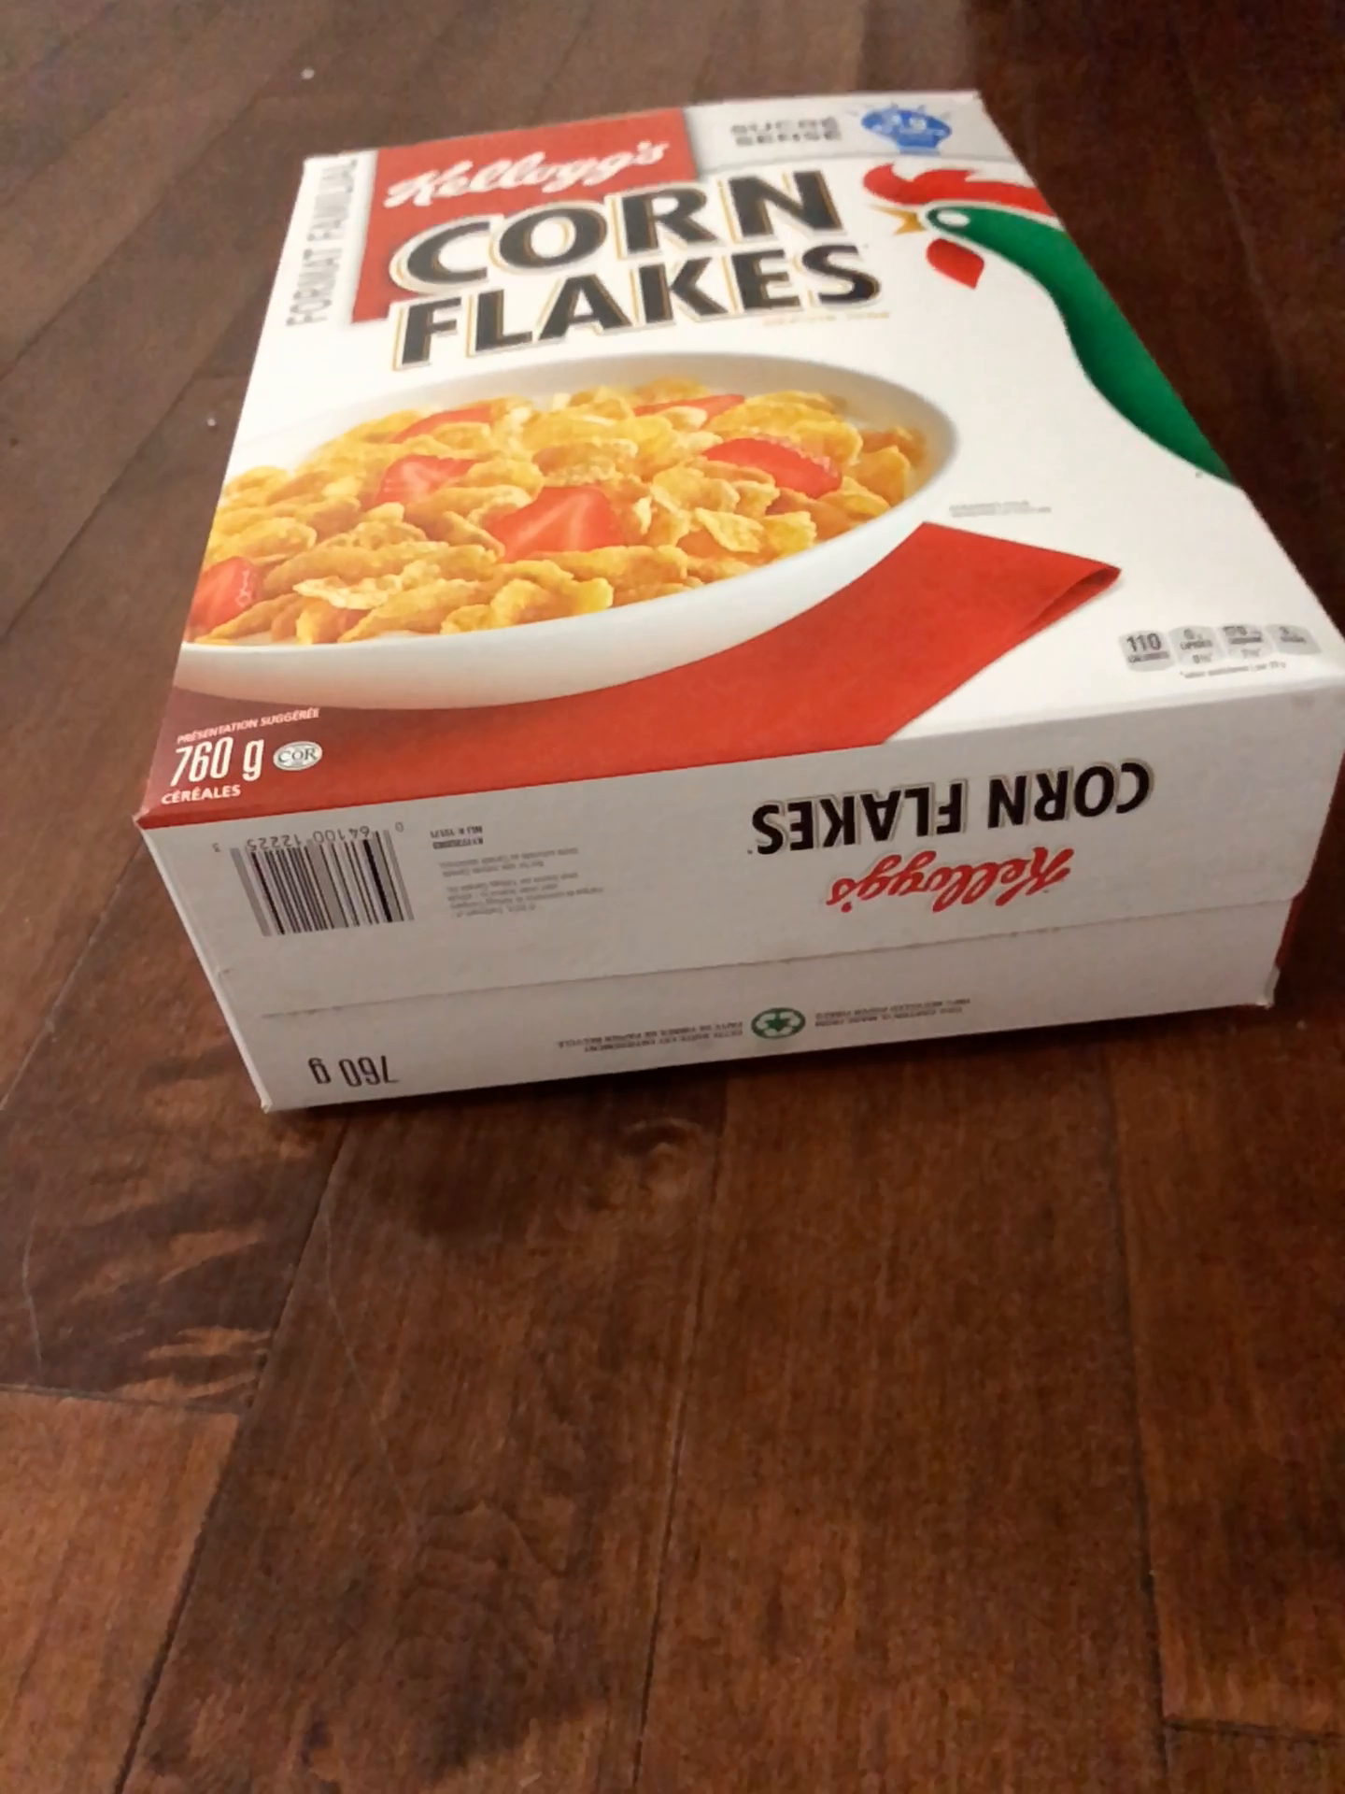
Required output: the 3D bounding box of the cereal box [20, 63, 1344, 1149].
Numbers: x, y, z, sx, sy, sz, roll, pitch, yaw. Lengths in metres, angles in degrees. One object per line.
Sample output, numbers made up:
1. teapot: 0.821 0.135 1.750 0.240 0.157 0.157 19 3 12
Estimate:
1. cereal box: -0.005 -0.122 0.451 0.260 0.090 0.381 -6 46 0
